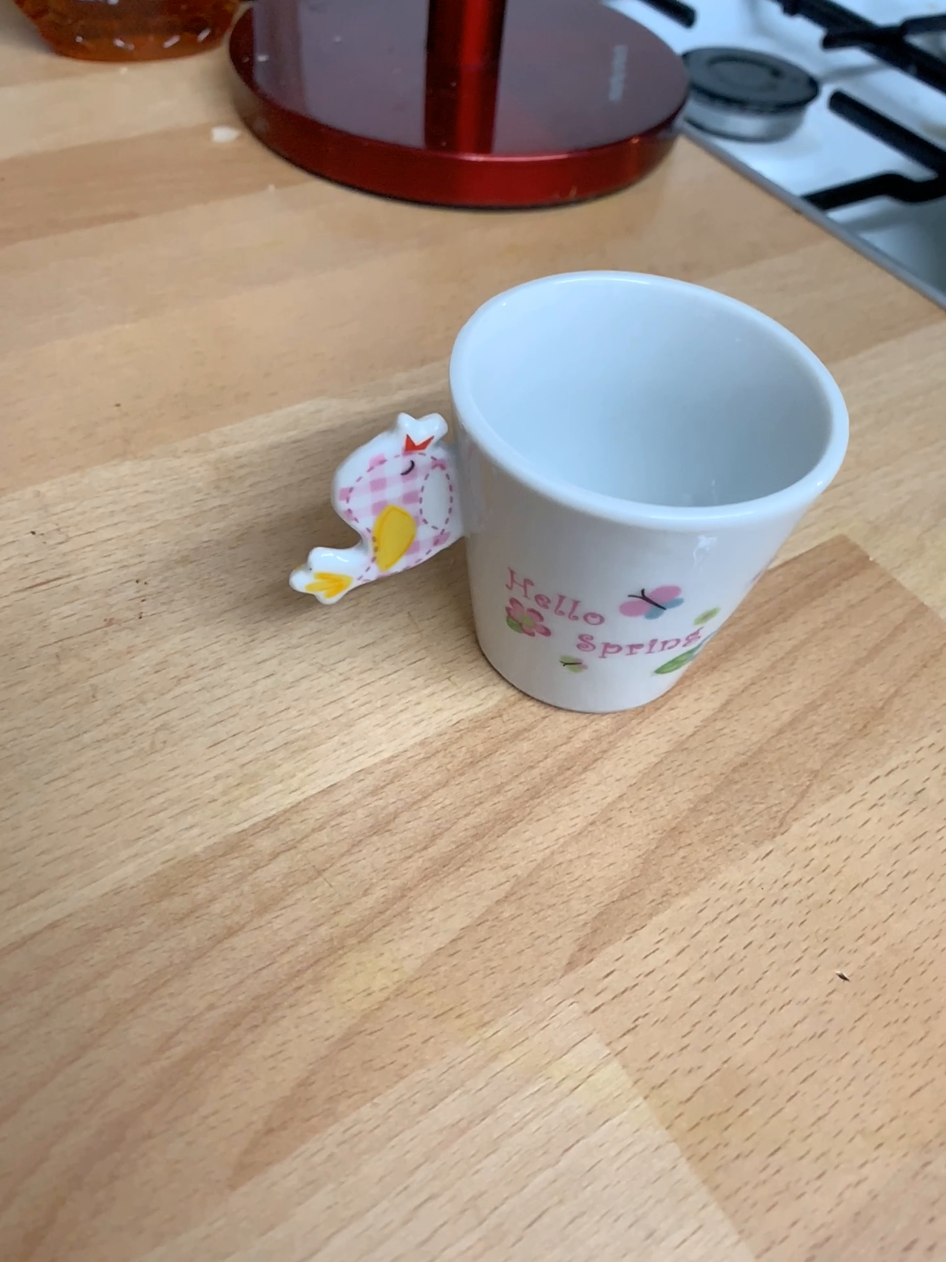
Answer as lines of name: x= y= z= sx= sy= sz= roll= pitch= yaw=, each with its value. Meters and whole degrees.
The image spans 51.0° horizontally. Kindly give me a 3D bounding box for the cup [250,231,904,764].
cup: x=0.010 y=-0.024 z=0.163 sx=0.080 sy=0.050 sz=0.060 roll=-10 pitch=52 yaw=-15
